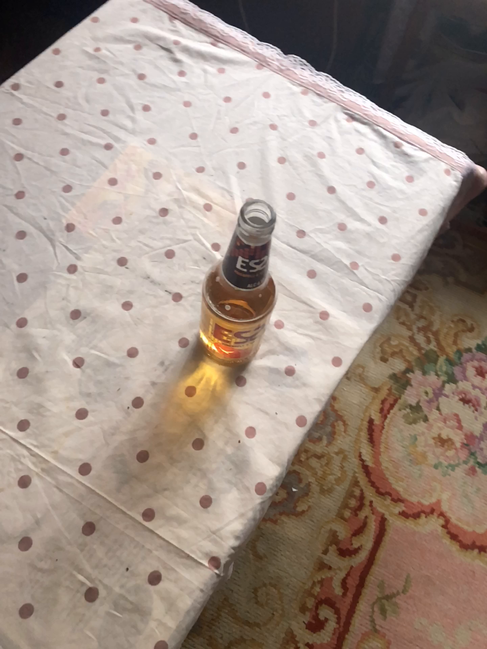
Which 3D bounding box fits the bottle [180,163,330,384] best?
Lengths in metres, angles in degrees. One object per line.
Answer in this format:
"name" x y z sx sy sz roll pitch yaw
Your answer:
"bottle" -0.001 -0.030 0.467 0.080 0.209 0.080 2 66 -4
